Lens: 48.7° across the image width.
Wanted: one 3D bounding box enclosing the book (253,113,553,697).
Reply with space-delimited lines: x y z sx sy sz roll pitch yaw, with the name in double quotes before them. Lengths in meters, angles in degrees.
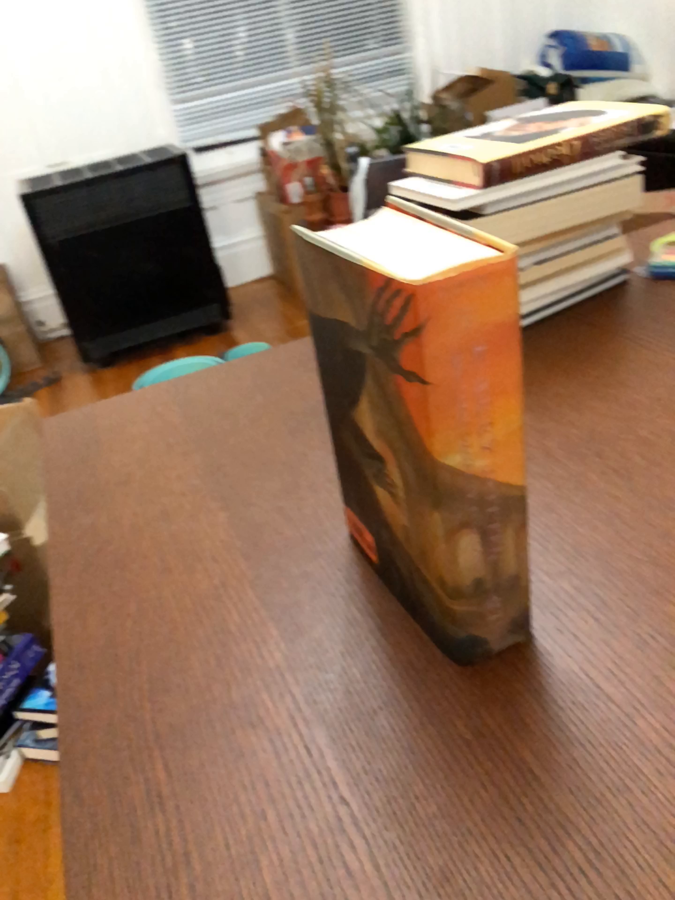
"book" 0.039 -0.037 0.464 0.070 0.298 0.211 -18 30 -12
